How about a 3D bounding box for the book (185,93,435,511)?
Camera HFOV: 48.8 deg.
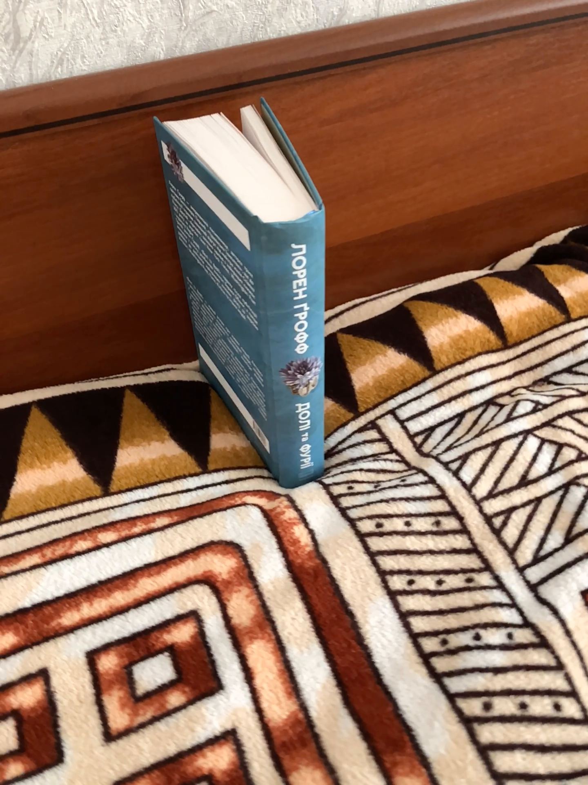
[{"bbox_3d":[0.003,-0.057,0.416,0.078,0.199,0.161,-17,46,-15],"label":"book"}]
